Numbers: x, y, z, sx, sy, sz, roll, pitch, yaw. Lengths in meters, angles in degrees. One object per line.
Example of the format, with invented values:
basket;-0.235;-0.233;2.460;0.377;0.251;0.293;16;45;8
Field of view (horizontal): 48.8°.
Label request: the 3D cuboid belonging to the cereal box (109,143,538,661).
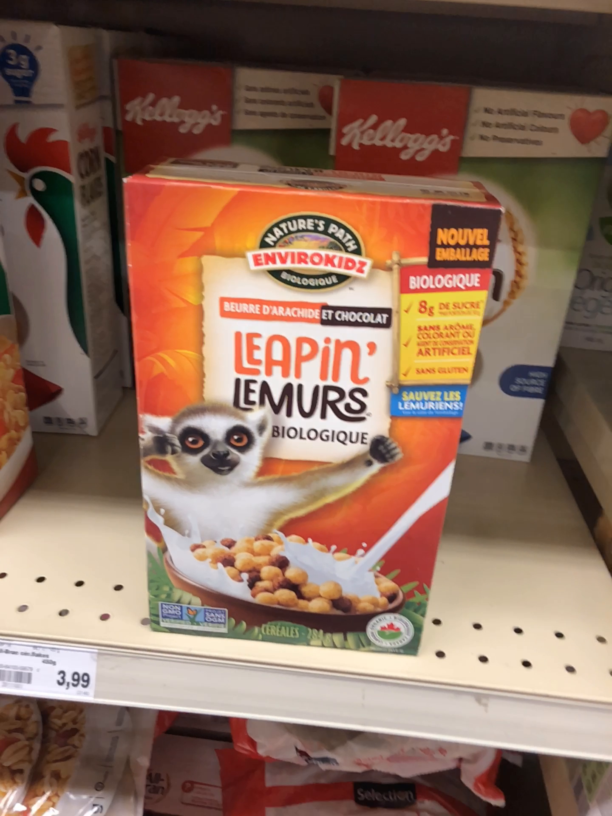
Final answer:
cereal box;0.001;0.007;0.358;0.170;0.258;0.071;5;28;2
